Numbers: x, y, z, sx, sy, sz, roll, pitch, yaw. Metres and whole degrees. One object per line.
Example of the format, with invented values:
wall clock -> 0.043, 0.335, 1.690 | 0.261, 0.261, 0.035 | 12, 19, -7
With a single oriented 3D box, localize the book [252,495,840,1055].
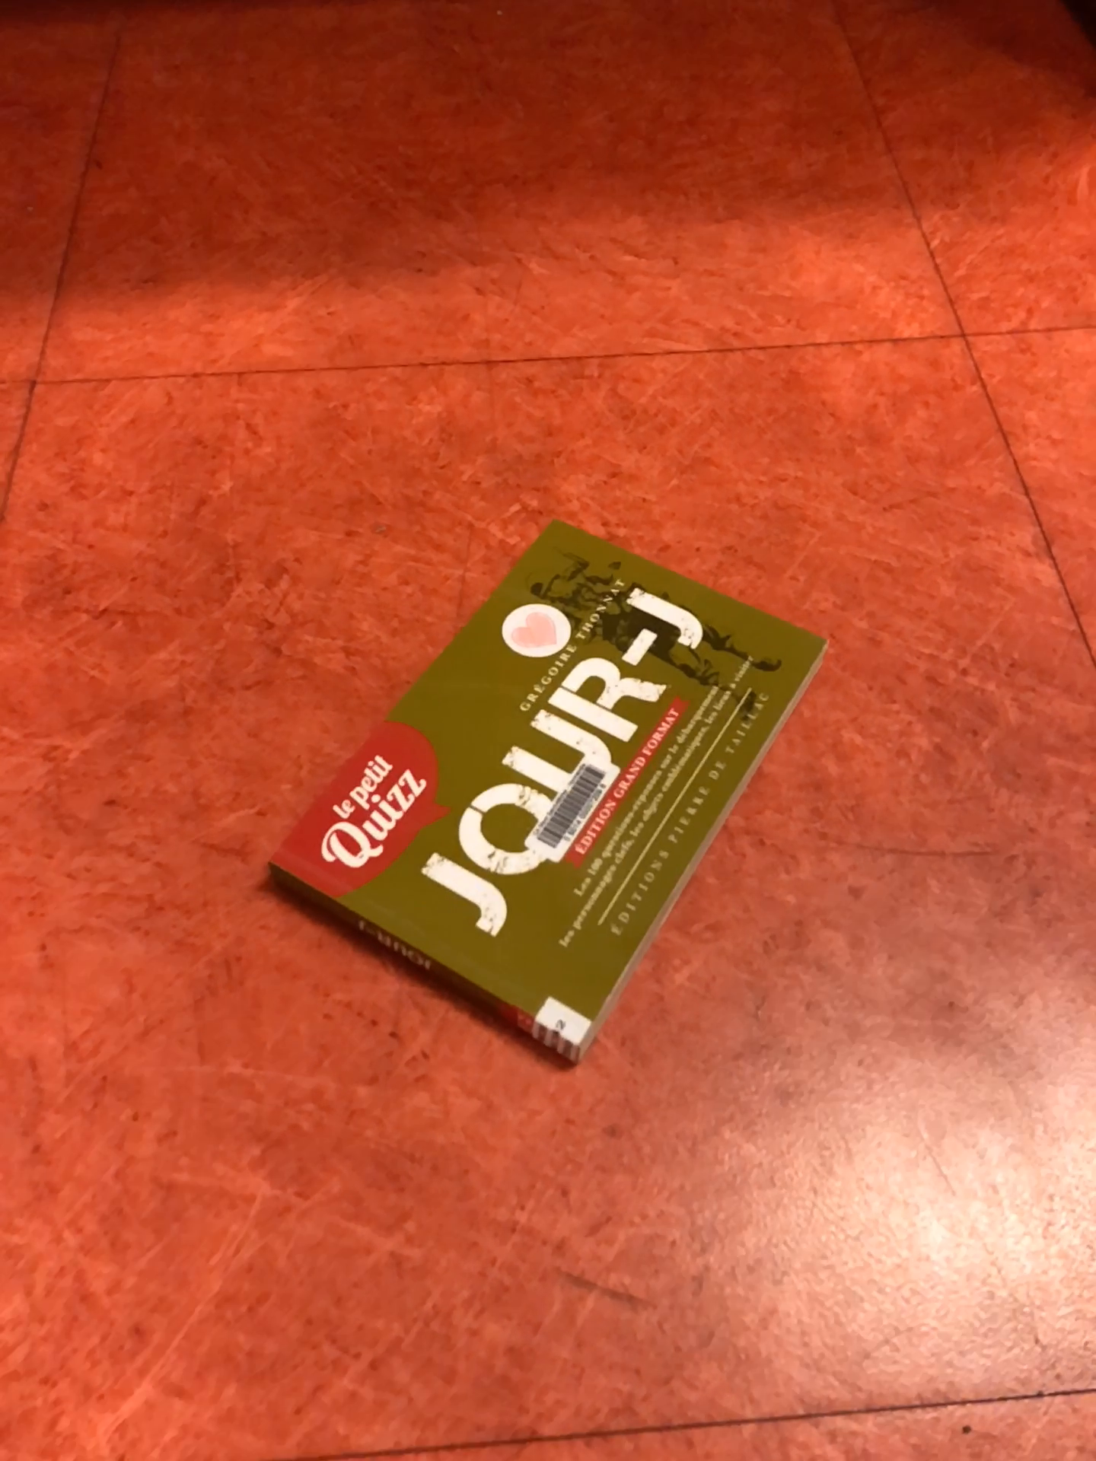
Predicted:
book -> 0.008, 0.001, 0.477 | 0.136, 0.016, 0.219 | 27, 58, 18
